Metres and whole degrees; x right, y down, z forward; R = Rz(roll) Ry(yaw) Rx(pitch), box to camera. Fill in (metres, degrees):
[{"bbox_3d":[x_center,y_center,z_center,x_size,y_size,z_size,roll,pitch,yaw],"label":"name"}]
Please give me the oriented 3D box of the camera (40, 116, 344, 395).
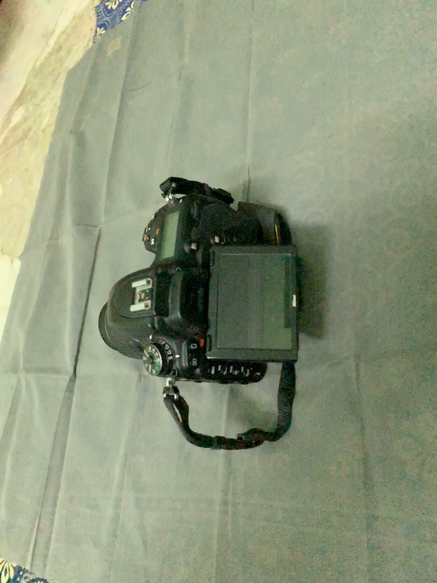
[{"bbox_3d":[-0.027,-0.008,0.382,0.231,0.100,0.165,-12,64,36],"label":"camera"}]
